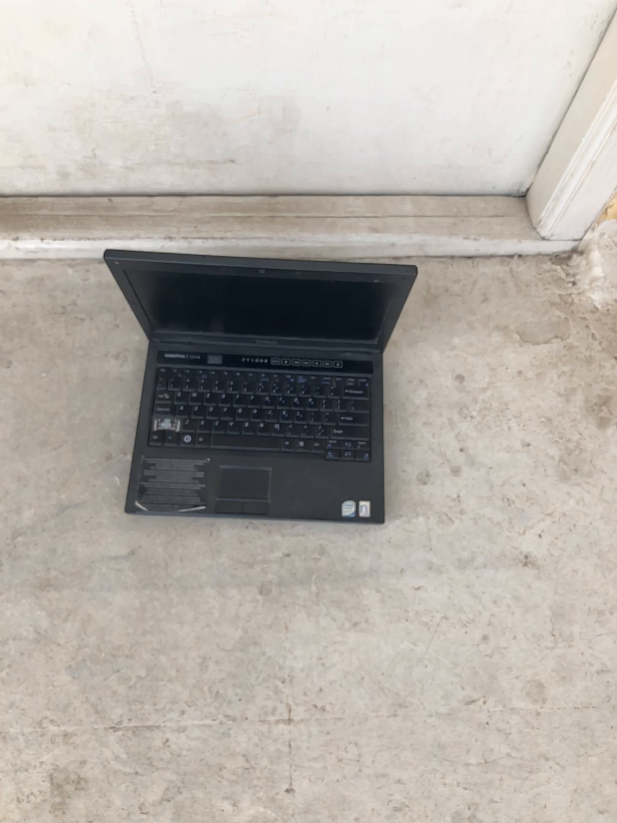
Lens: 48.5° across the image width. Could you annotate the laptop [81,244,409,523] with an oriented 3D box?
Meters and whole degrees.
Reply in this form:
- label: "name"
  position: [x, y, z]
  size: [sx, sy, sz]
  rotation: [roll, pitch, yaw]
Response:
- label: "laptop"
  position: [-0.057, -0.018, 0.748]
  size: [0.292, 0.219, 0.214]
  rotation: [3, 68, -1]
